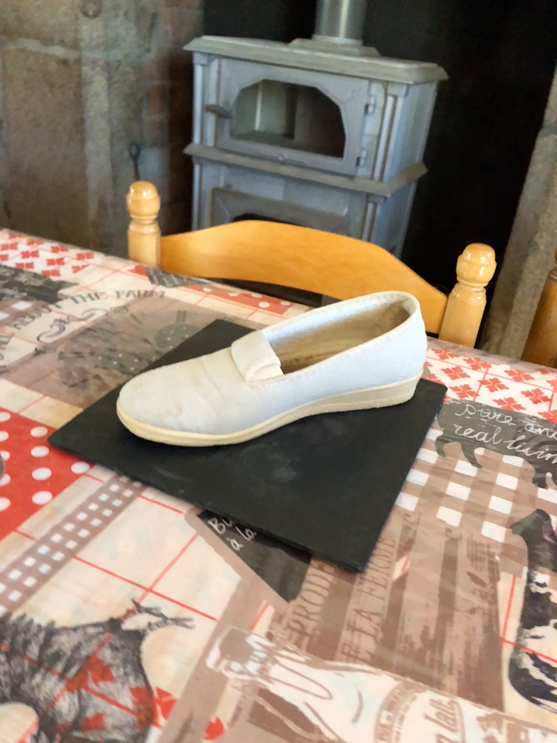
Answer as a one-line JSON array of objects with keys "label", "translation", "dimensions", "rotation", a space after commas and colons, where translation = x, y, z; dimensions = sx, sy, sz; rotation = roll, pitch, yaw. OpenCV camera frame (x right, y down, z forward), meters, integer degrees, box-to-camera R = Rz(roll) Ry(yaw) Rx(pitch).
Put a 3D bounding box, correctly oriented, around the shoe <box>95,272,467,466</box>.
[{"label": "shoe", "translation": [0.001, -0.013, 0.463], "dimensions": [0.251, 0.080, 0.100], "rotation": [-7, 32, -23]}]
